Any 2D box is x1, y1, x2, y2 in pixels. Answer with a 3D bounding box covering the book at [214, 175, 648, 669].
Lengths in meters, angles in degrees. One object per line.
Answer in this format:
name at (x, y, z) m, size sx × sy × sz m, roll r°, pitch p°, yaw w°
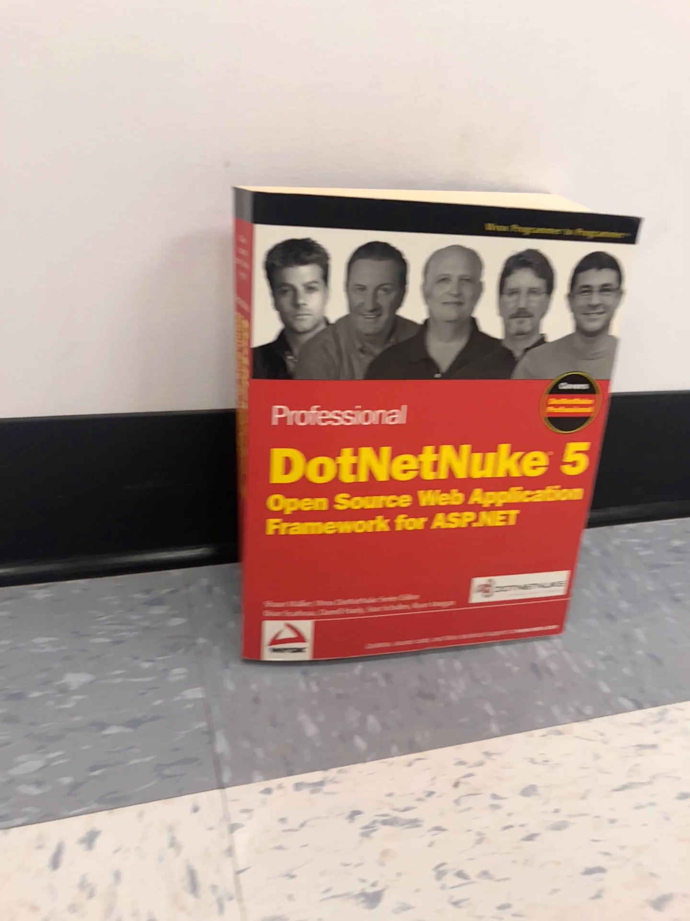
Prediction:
book at (0.036, -0.019, 0.423) m, size 0.210 × 0.249 × 0.060 m, roll -1°, pitch 19°, yaw -14°
